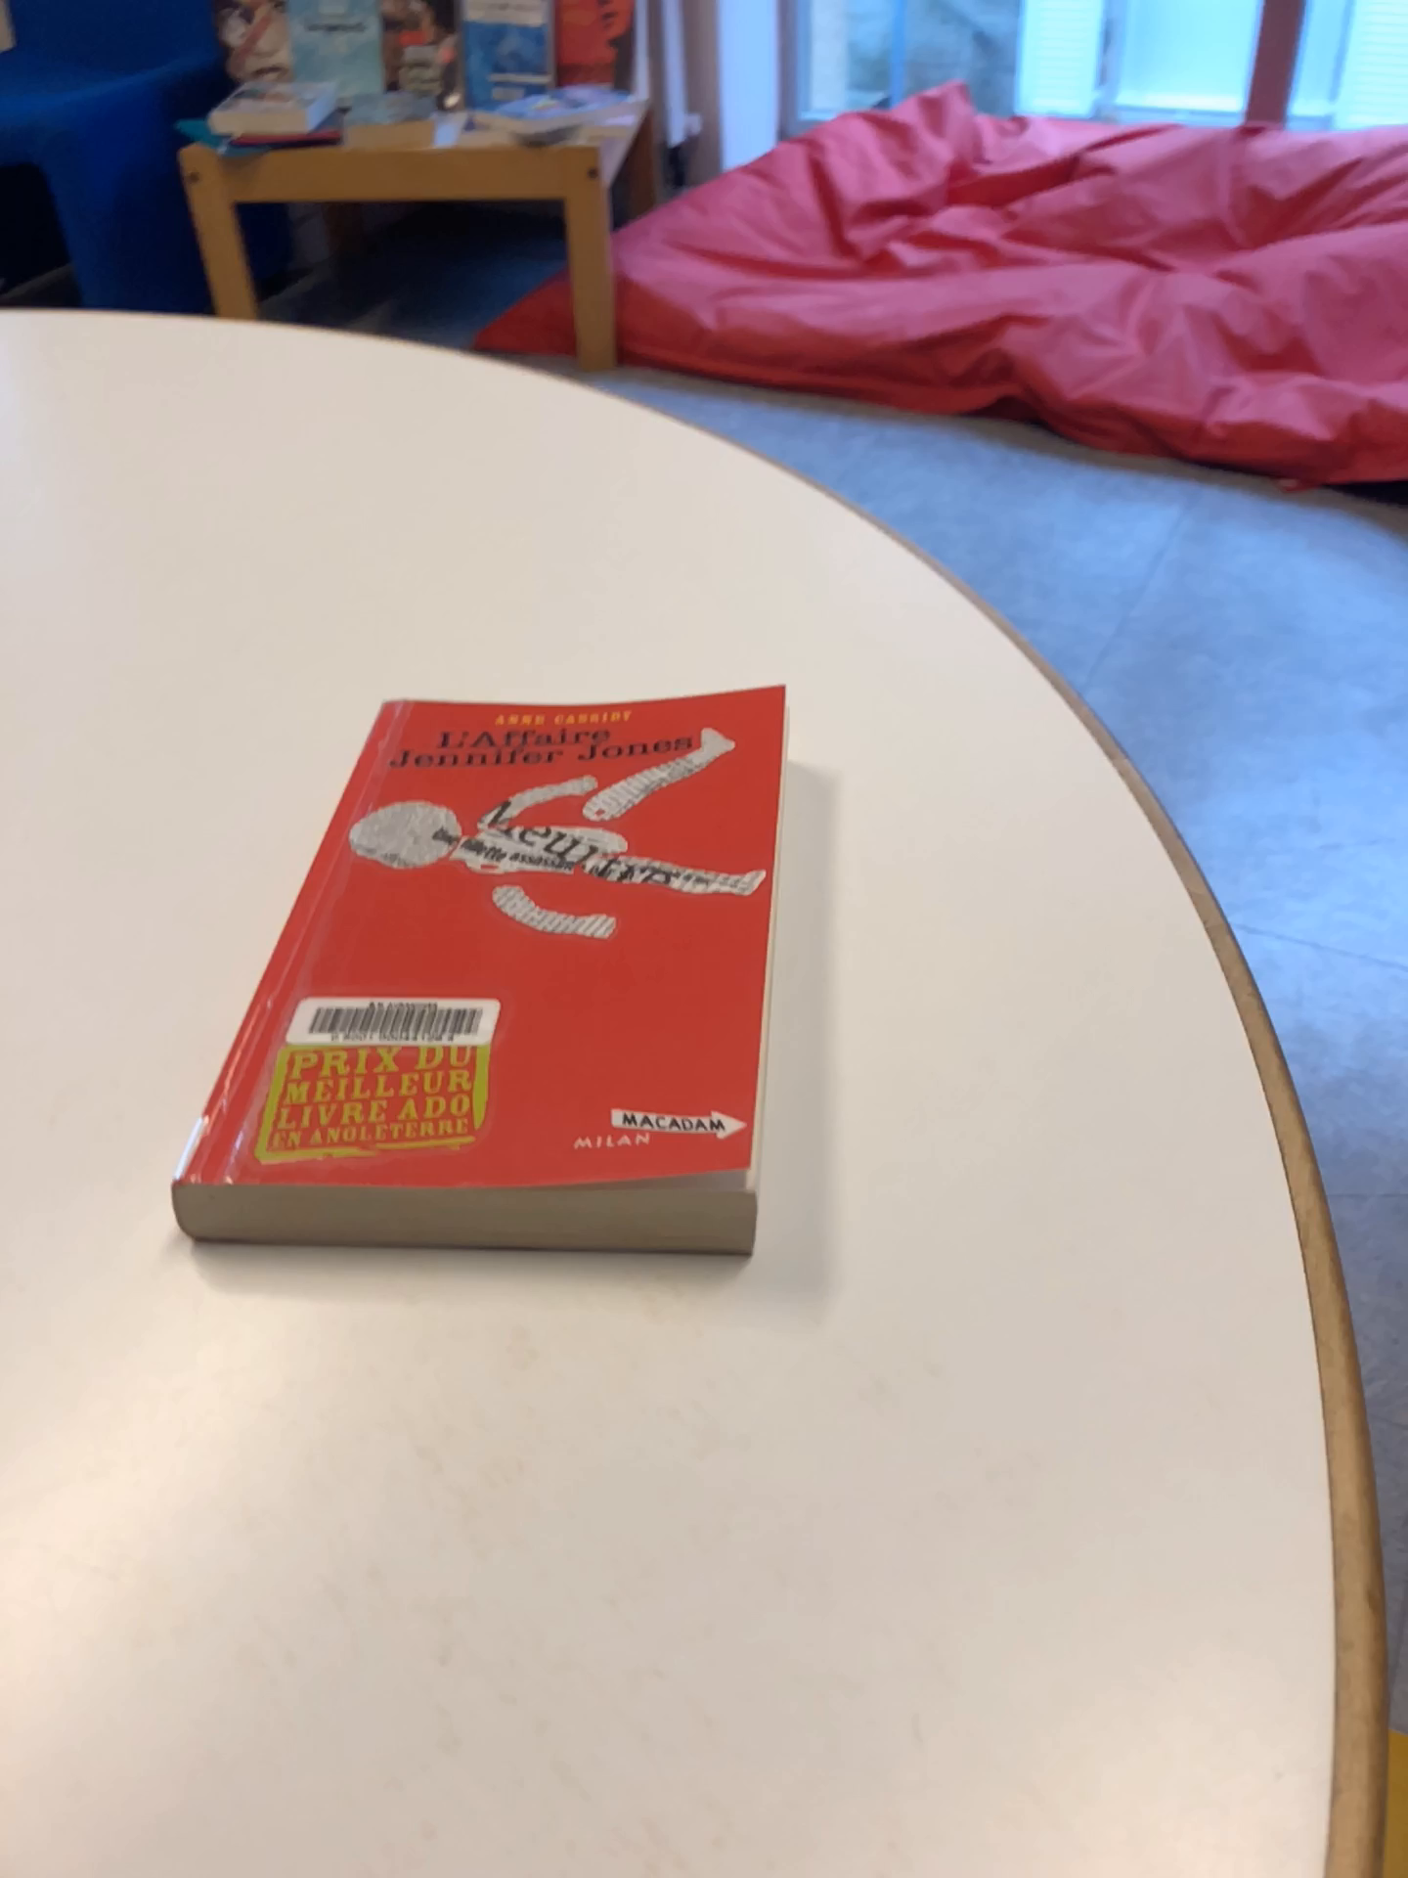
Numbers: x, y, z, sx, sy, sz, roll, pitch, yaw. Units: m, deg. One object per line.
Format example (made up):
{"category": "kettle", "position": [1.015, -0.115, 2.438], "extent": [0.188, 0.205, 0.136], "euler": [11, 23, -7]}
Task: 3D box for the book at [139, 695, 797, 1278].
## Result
{"category": "book", "position": [-0.046, 0.001, 0.417], "extent": [0.136, 0.027, 0.204], "euler": [-2, 39, 7]}
